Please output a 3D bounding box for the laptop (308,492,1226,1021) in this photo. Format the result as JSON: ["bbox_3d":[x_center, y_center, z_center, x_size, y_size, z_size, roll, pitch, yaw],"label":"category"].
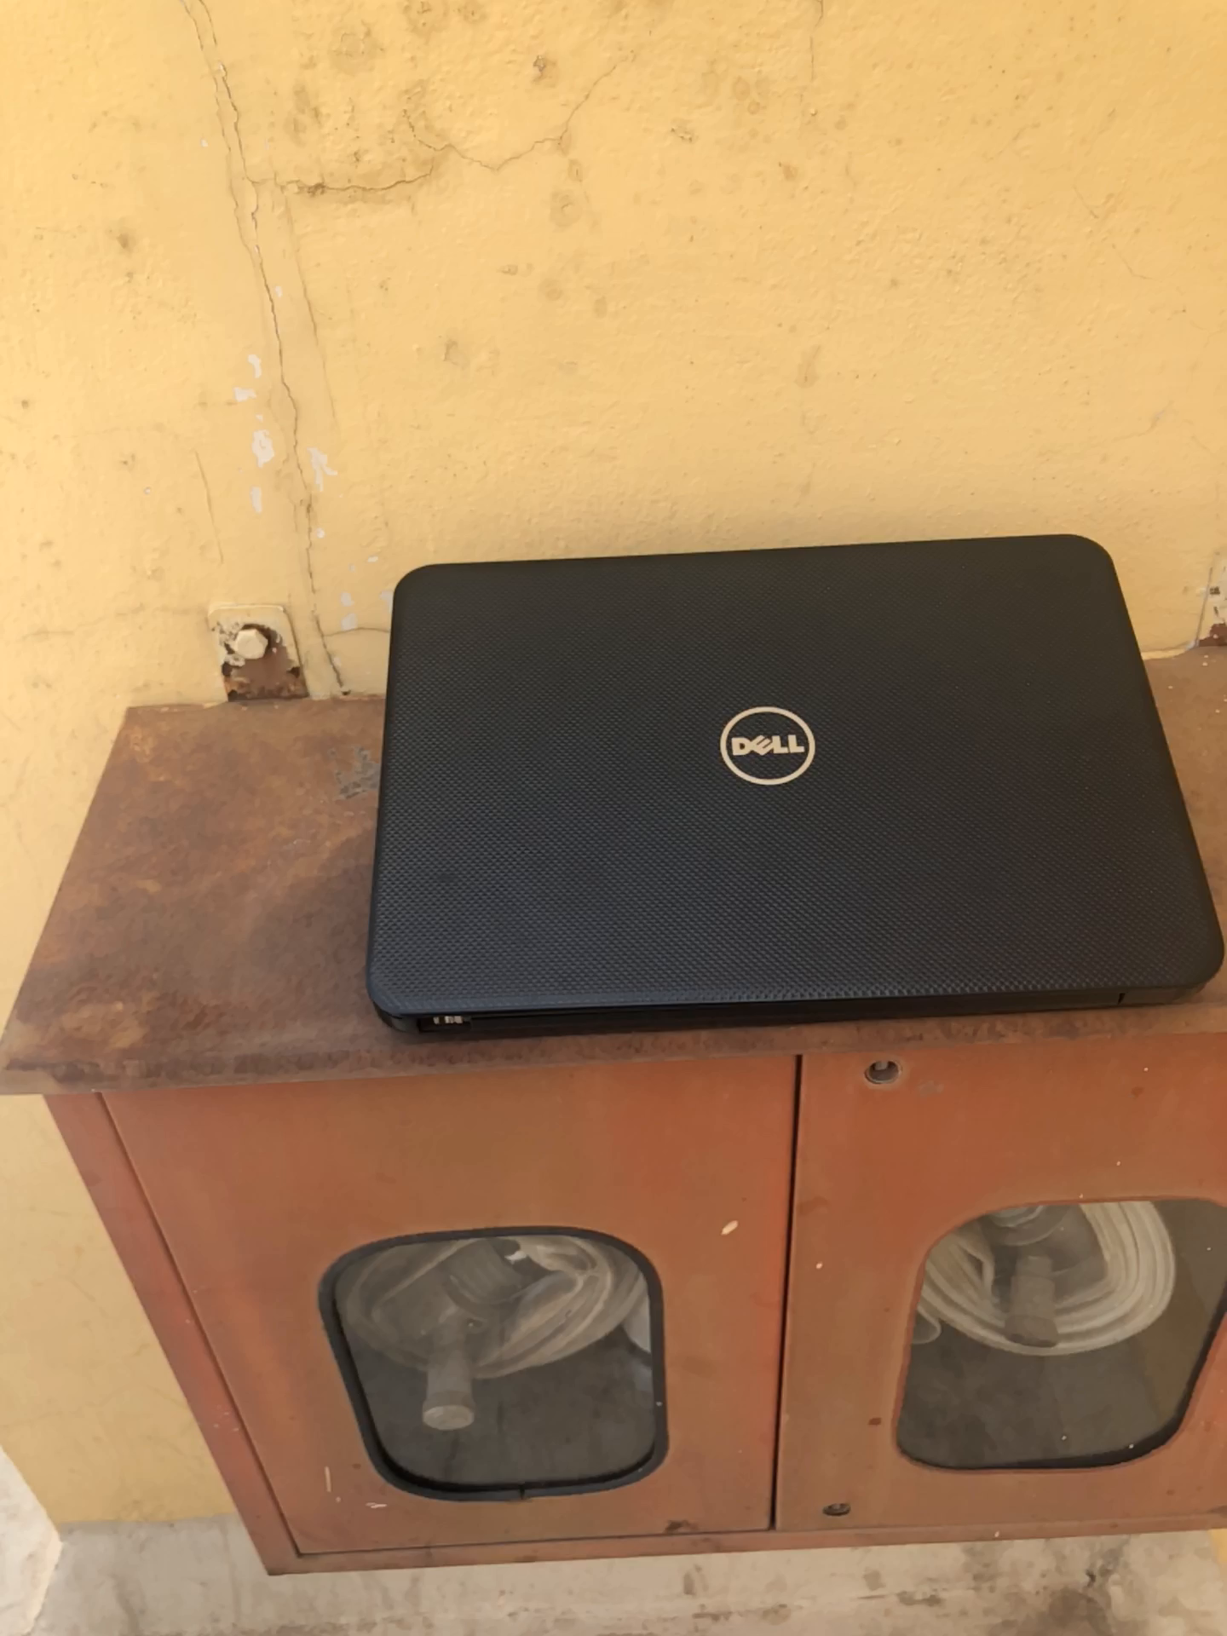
[{"bbox_3d":[0.060,-0.032,0.609,0.352,0.098,0.184,-3,48,1],"label":"laptop"}]
